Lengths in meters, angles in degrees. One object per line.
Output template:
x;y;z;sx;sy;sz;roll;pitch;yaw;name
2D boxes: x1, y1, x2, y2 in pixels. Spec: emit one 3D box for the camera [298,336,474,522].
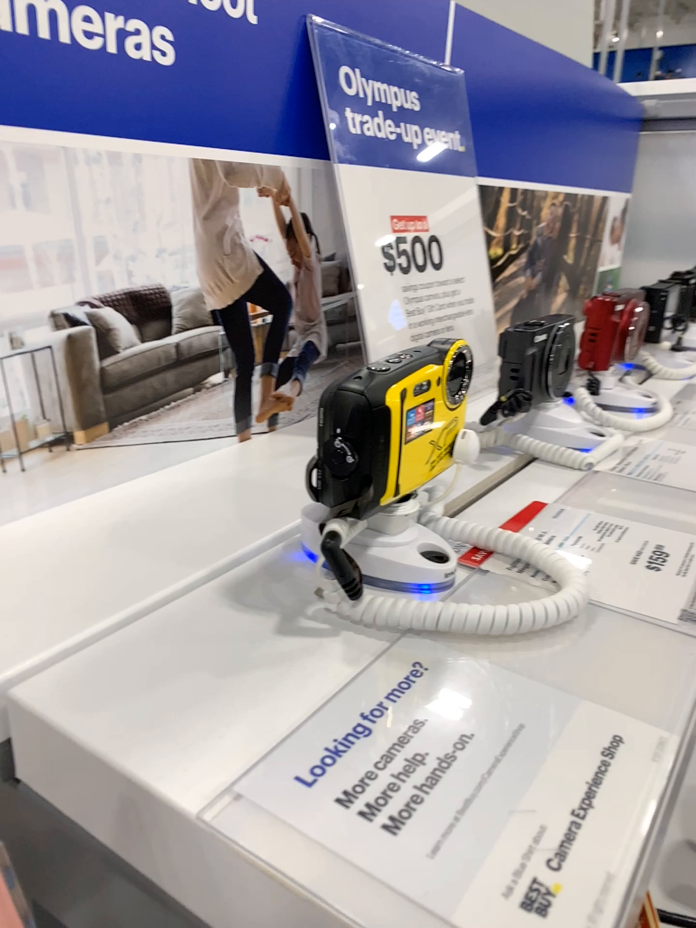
0.022;-0.022;0.342;0.030;0.060;0.110;13;23;31;camera
